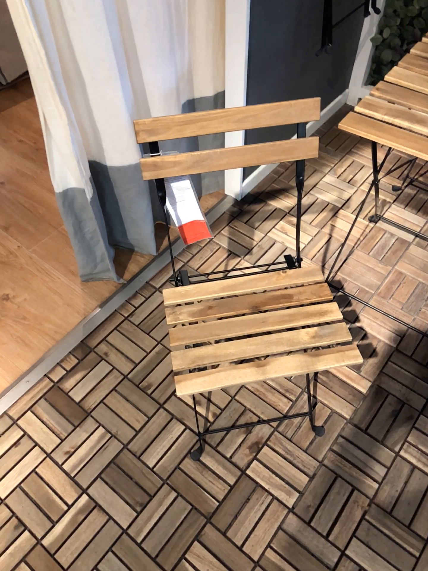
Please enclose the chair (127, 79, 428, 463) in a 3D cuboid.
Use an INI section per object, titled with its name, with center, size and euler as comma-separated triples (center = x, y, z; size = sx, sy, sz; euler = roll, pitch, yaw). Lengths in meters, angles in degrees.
[chair]
center = 0.096, 0.025, 1.036
size = 0.430, 0.726, 0.432
euler = -9, 53, -6
